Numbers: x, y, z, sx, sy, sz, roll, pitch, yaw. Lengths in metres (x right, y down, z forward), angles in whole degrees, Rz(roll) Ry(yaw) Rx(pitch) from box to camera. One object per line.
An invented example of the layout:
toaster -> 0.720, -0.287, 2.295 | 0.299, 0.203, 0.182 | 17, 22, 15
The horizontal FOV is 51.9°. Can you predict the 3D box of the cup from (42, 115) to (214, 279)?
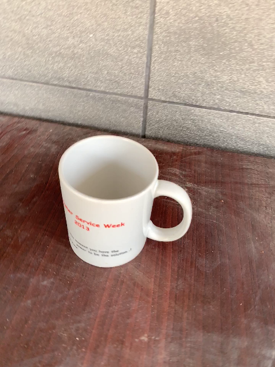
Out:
cup -> -0.003, 0.012, 0.261 | 0.120, 0.100, 0.090 | 8, 44, 5
